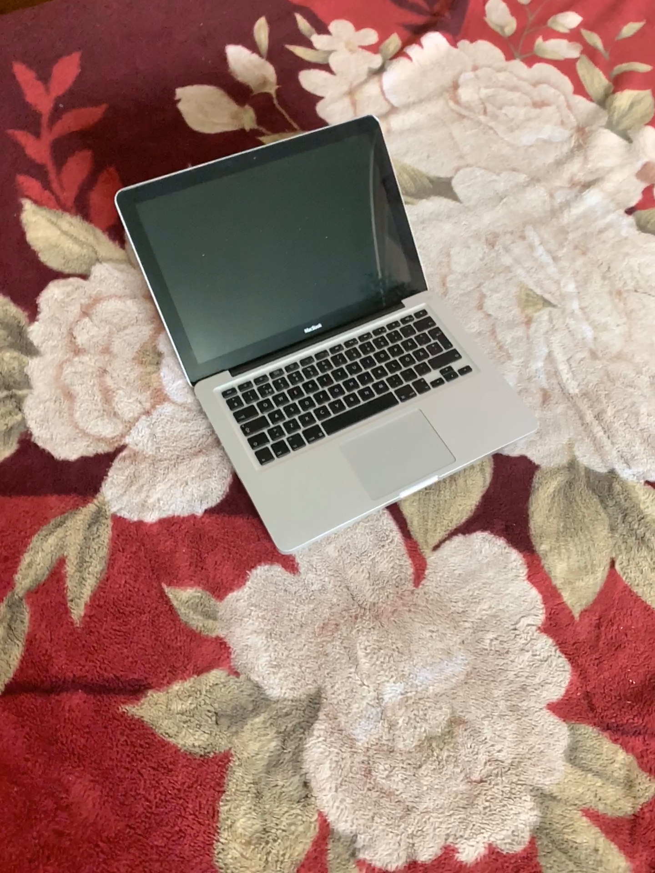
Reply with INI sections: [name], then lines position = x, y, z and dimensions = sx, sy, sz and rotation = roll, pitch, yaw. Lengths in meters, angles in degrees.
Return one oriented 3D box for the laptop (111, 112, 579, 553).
[laptop]
position = 0.005, -0.130, 0.719
dimensions = 0.317, 0.116, 0.388
rotation = -25, 68, -16
